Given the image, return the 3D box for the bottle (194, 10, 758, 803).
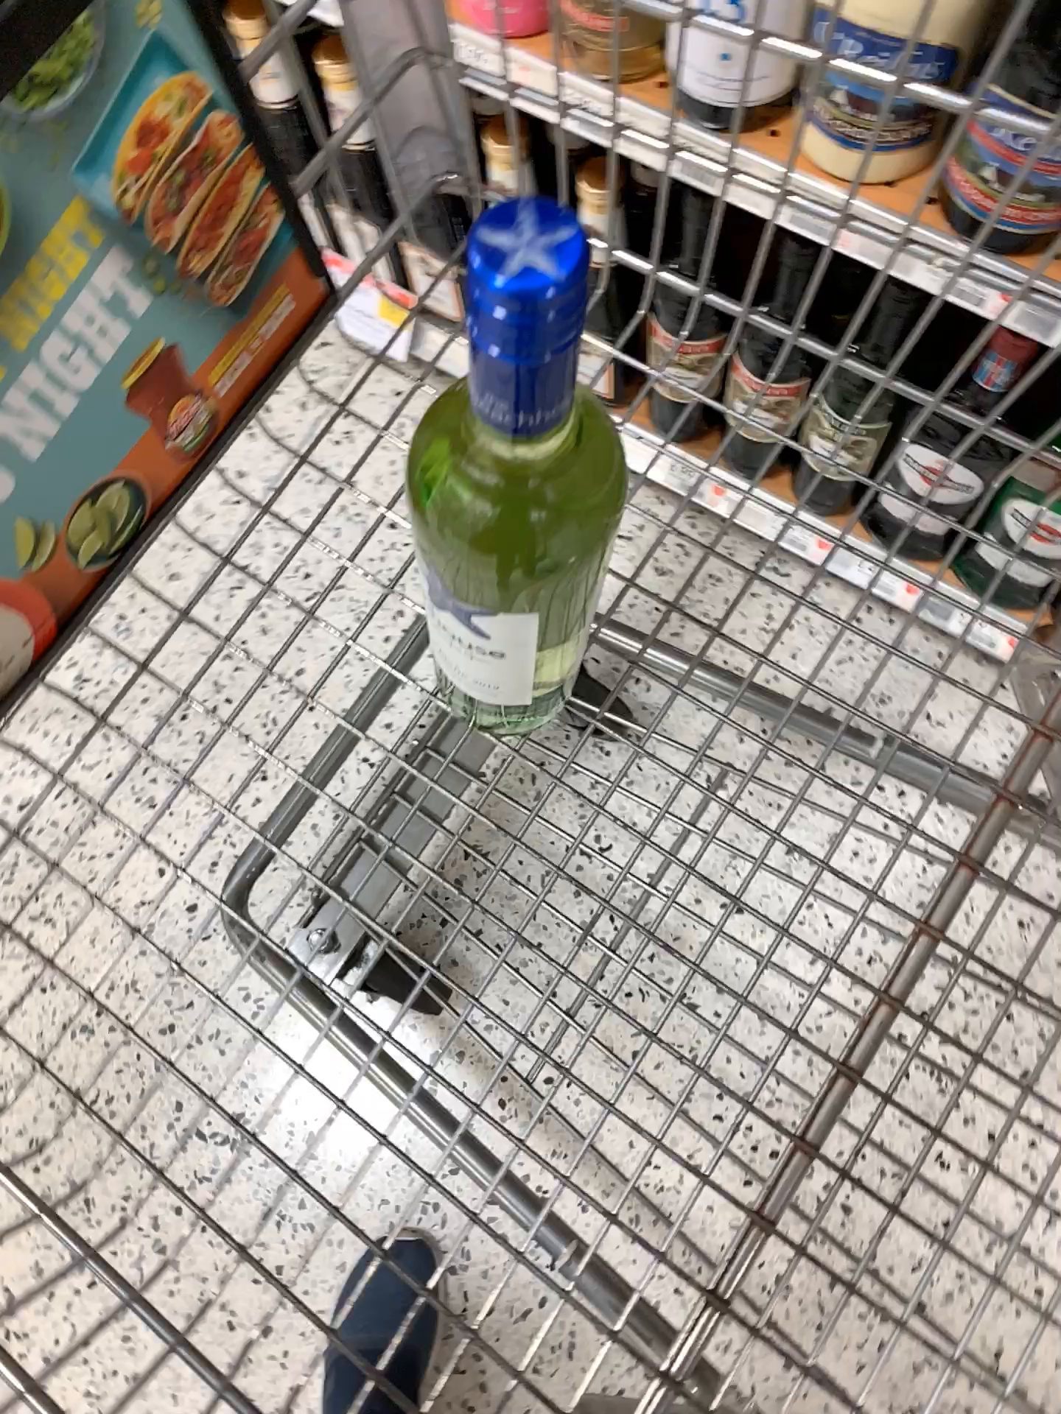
[{"bbox_3d":[-0.009,-0.060,0.407,0.090,0.339,0.090,0,73,1],"label":"bottle"}]
